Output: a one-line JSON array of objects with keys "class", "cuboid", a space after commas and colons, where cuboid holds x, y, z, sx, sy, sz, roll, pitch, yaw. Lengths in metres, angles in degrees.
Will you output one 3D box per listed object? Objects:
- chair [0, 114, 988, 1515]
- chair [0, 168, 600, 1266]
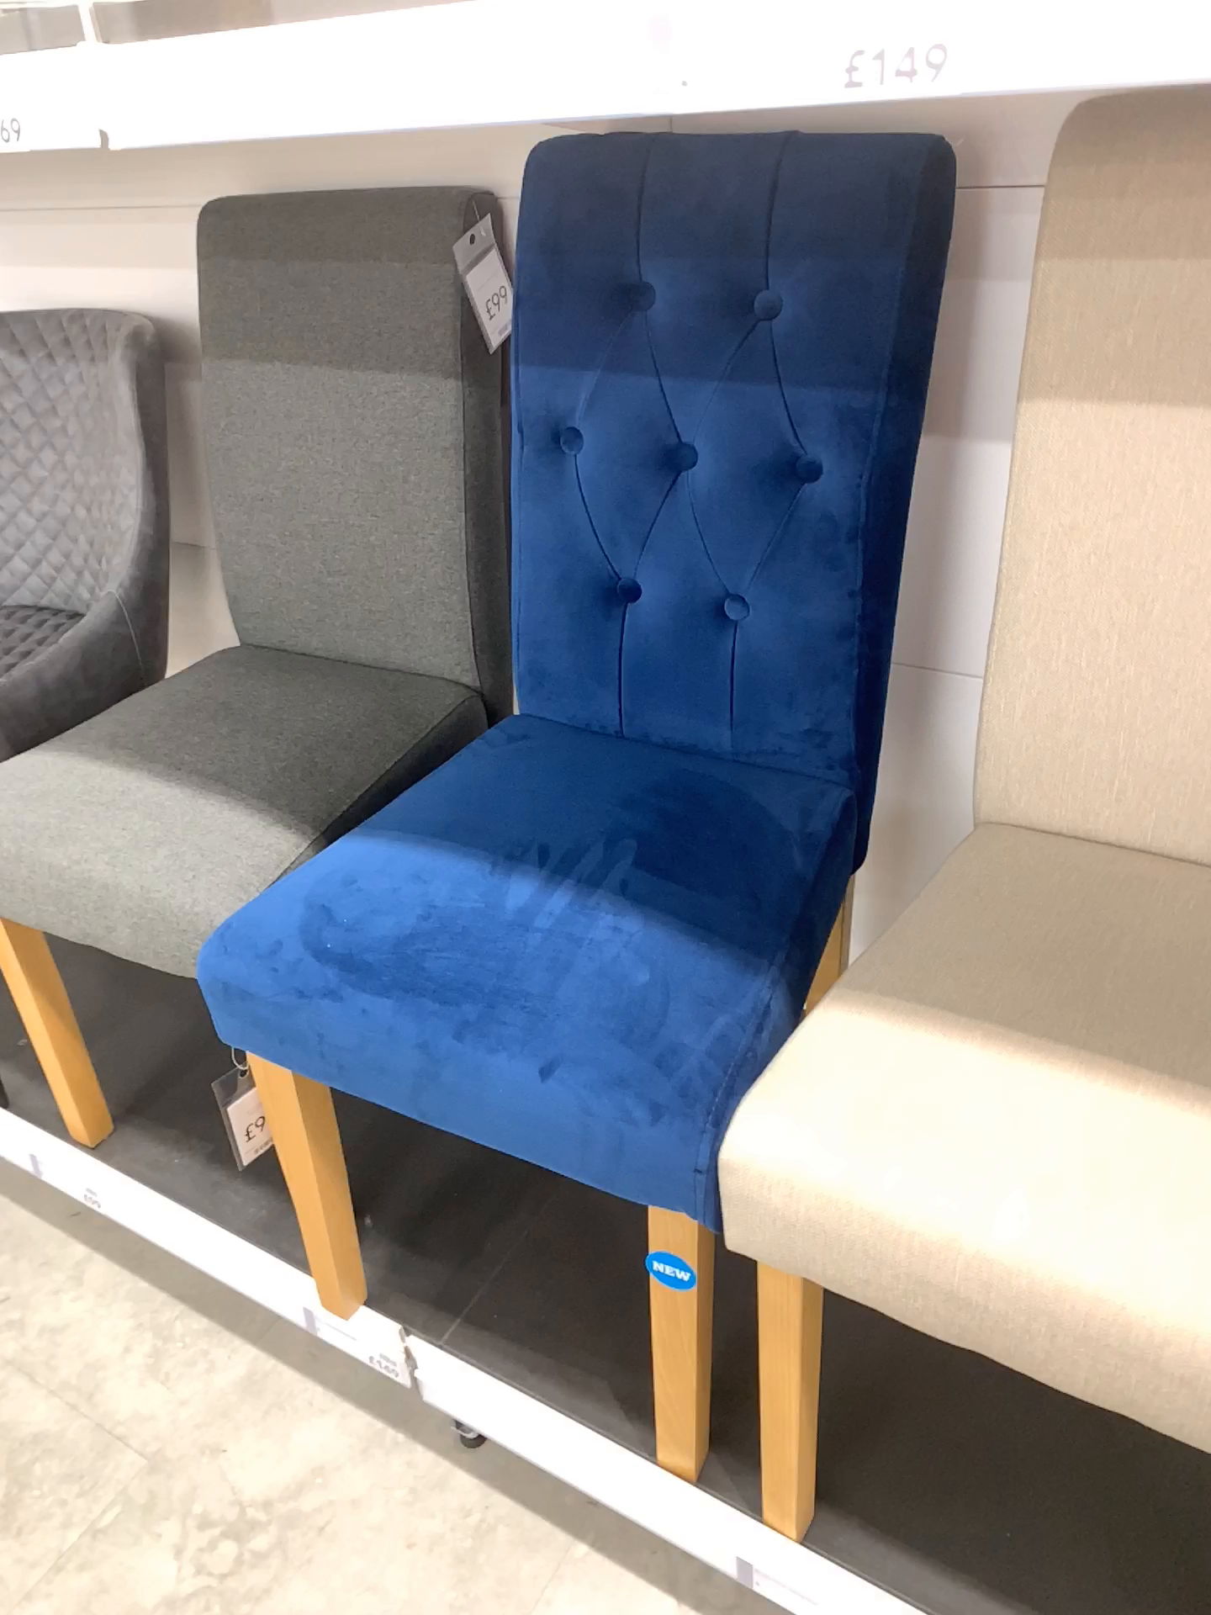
[{"class": "chair", "cuboid": [-0.020, -0.007, 1.015, 0.434, 0.929, 0.522, 14, 37, 26]}, {"class": "chair", "cuboid": [-0.357, -0.125, 1.286, 0.413, 0.890, 0.623, 11, 35, 24]}]
